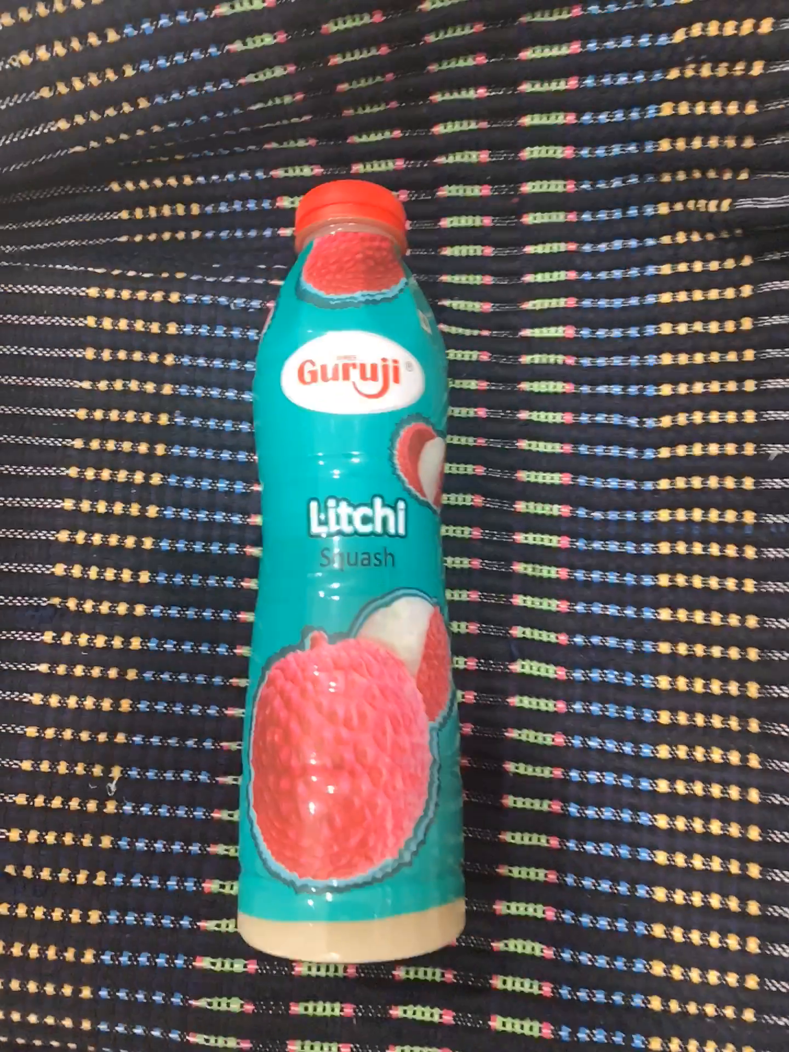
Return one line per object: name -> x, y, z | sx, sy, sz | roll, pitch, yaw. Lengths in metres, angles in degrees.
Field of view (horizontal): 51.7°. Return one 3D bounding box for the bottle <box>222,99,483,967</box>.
bottle -> -0.017, -0.007, 0.295 | 0.070, 0.080, 0.280 | -1, 74, -4
